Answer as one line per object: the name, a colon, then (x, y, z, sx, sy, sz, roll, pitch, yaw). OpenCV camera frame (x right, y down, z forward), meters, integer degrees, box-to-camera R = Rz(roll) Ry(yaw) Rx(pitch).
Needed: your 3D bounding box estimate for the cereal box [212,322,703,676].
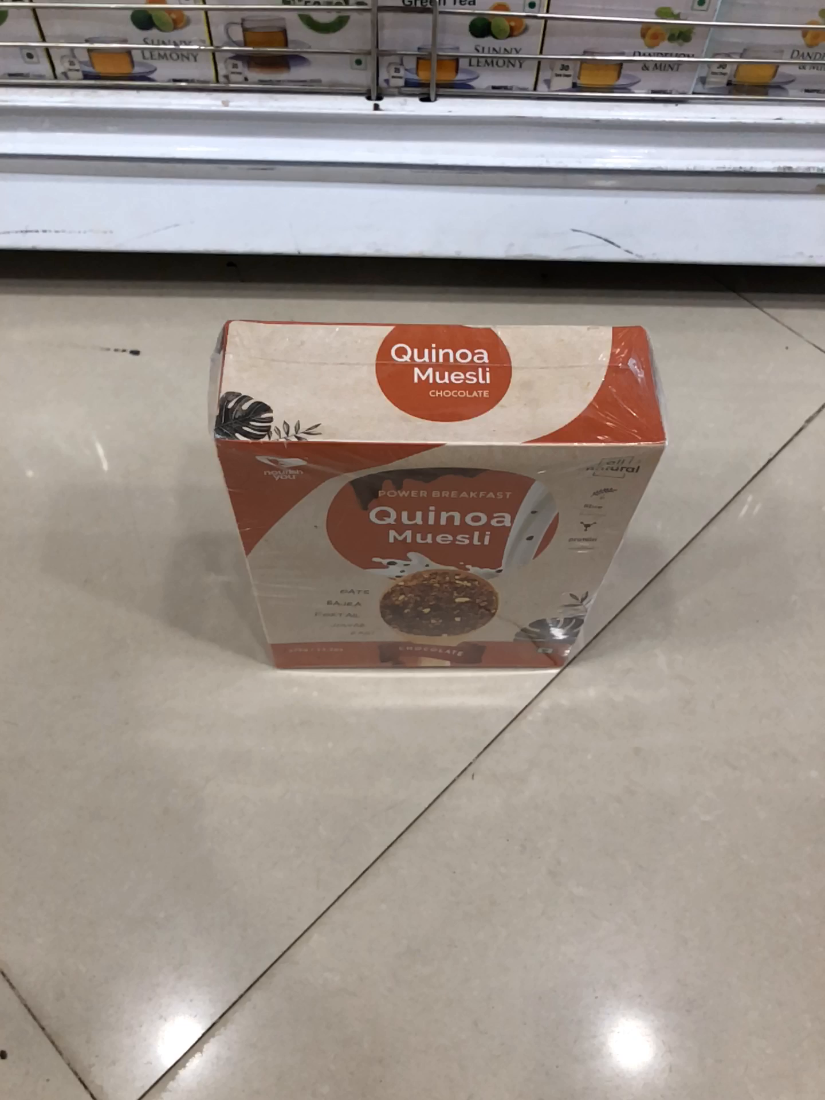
cereal box: (0.010, -0.005, 0.405, 0.160, 0.219, 0.050, 0, 62, -3)
